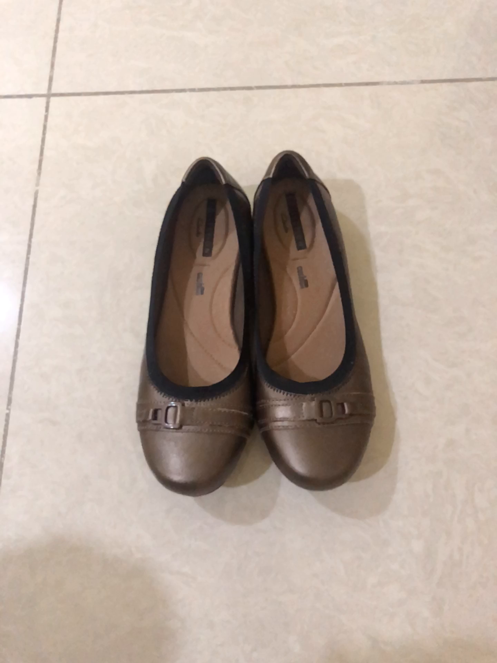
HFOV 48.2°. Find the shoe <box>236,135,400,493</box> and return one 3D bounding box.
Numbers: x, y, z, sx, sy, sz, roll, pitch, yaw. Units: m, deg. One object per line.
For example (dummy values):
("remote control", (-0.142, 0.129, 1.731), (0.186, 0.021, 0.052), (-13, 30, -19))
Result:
("shoe", (0.045, -0.015, 0.426), (0.090, 0.070, 0.260), (-4, 72, 2))

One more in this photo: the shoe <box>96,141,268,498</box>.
("shoe", (-0.042, -0.016, 0.429), (0.100, 0.050, 0.270), (2, 72, 4))
